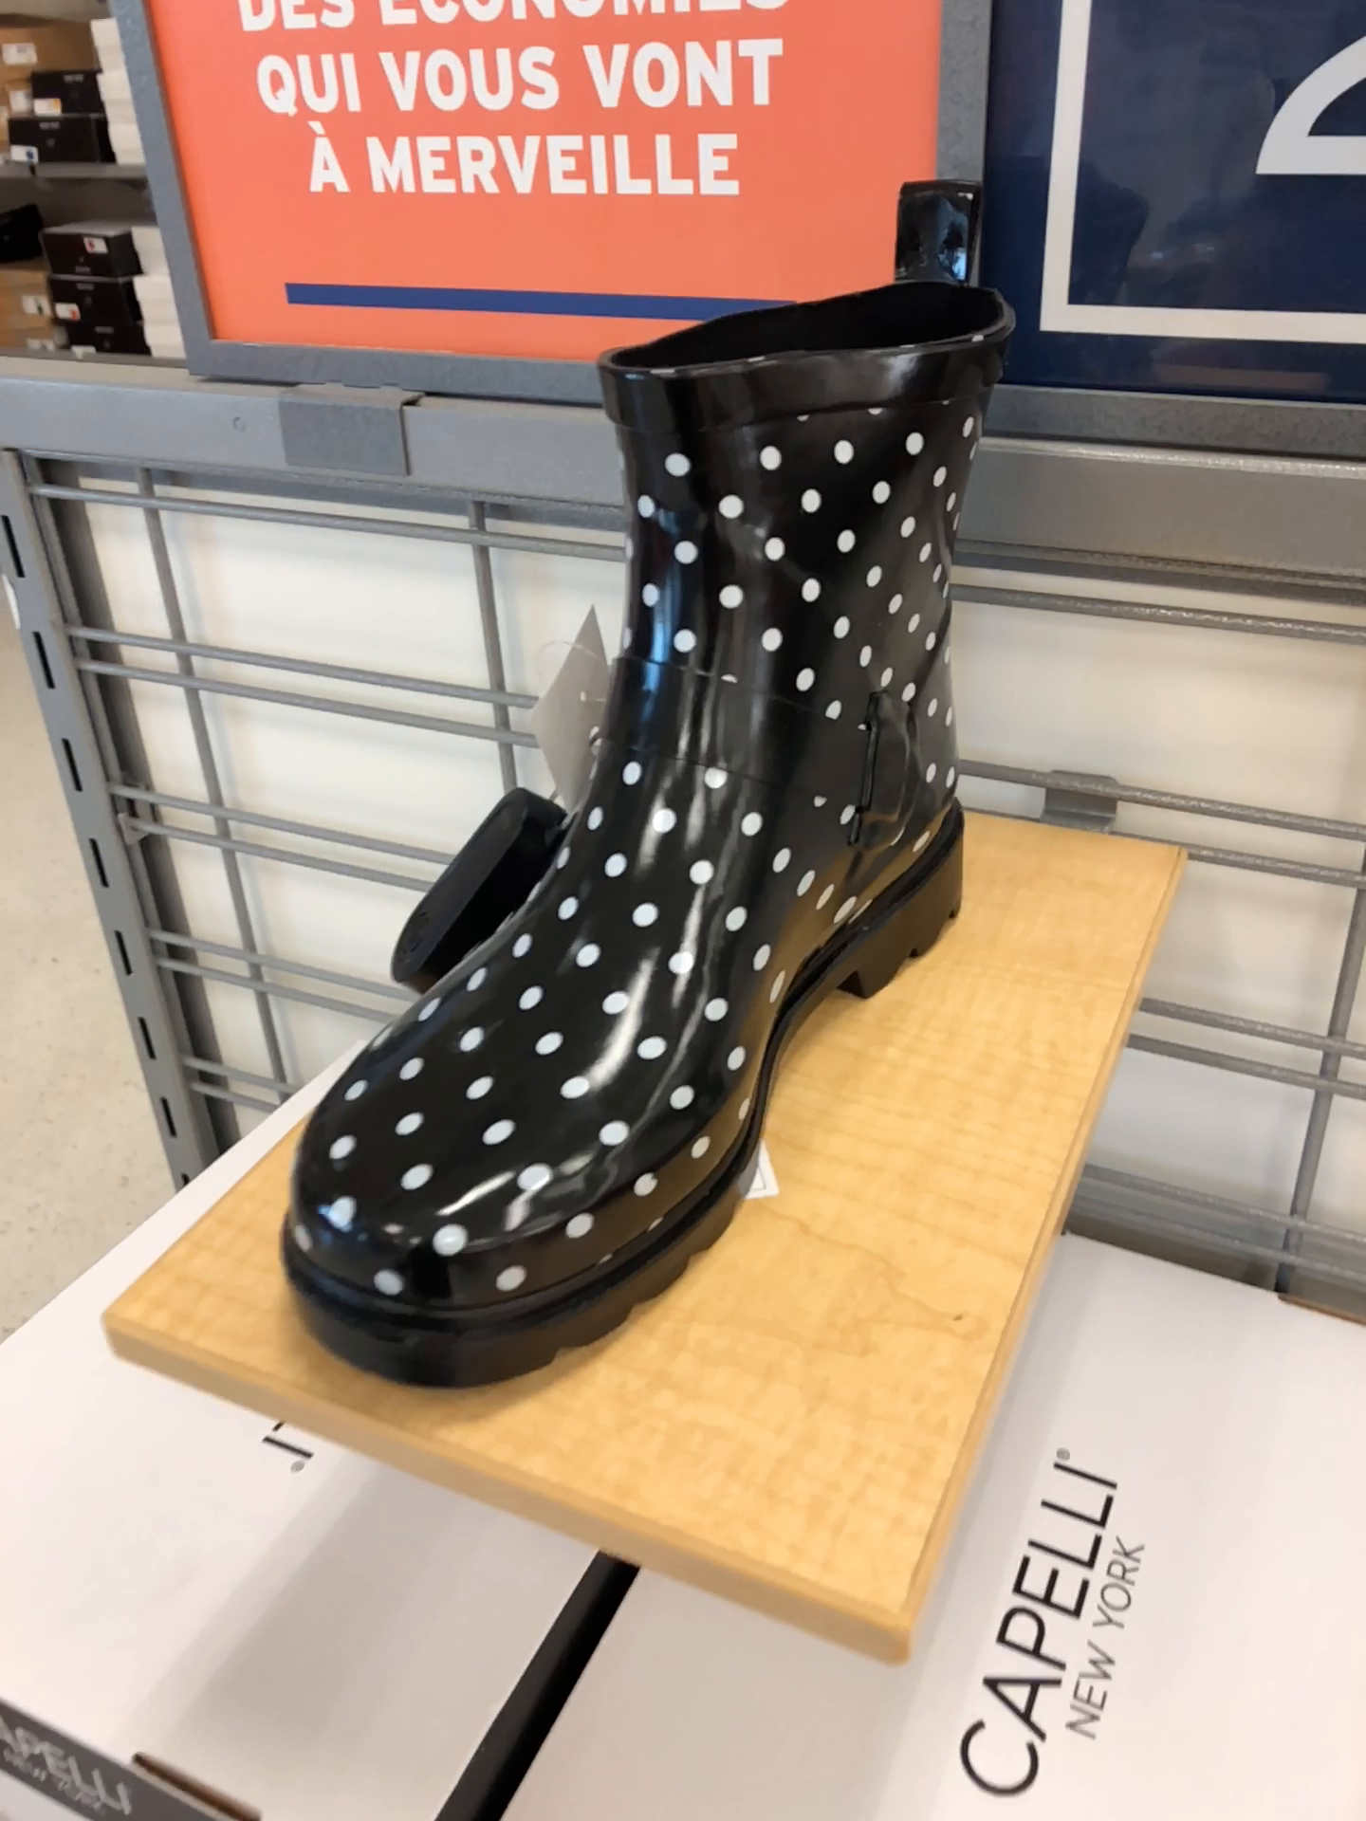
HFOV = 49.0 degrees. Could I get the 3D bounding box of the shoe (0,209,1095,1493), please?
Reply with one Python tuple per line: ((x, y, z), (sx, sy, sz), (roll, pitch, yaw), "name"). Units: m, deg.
((0.003, -0.043, 0.352), (0.095, 0.188, 0.262), (14, 35, 27), "shoe")
